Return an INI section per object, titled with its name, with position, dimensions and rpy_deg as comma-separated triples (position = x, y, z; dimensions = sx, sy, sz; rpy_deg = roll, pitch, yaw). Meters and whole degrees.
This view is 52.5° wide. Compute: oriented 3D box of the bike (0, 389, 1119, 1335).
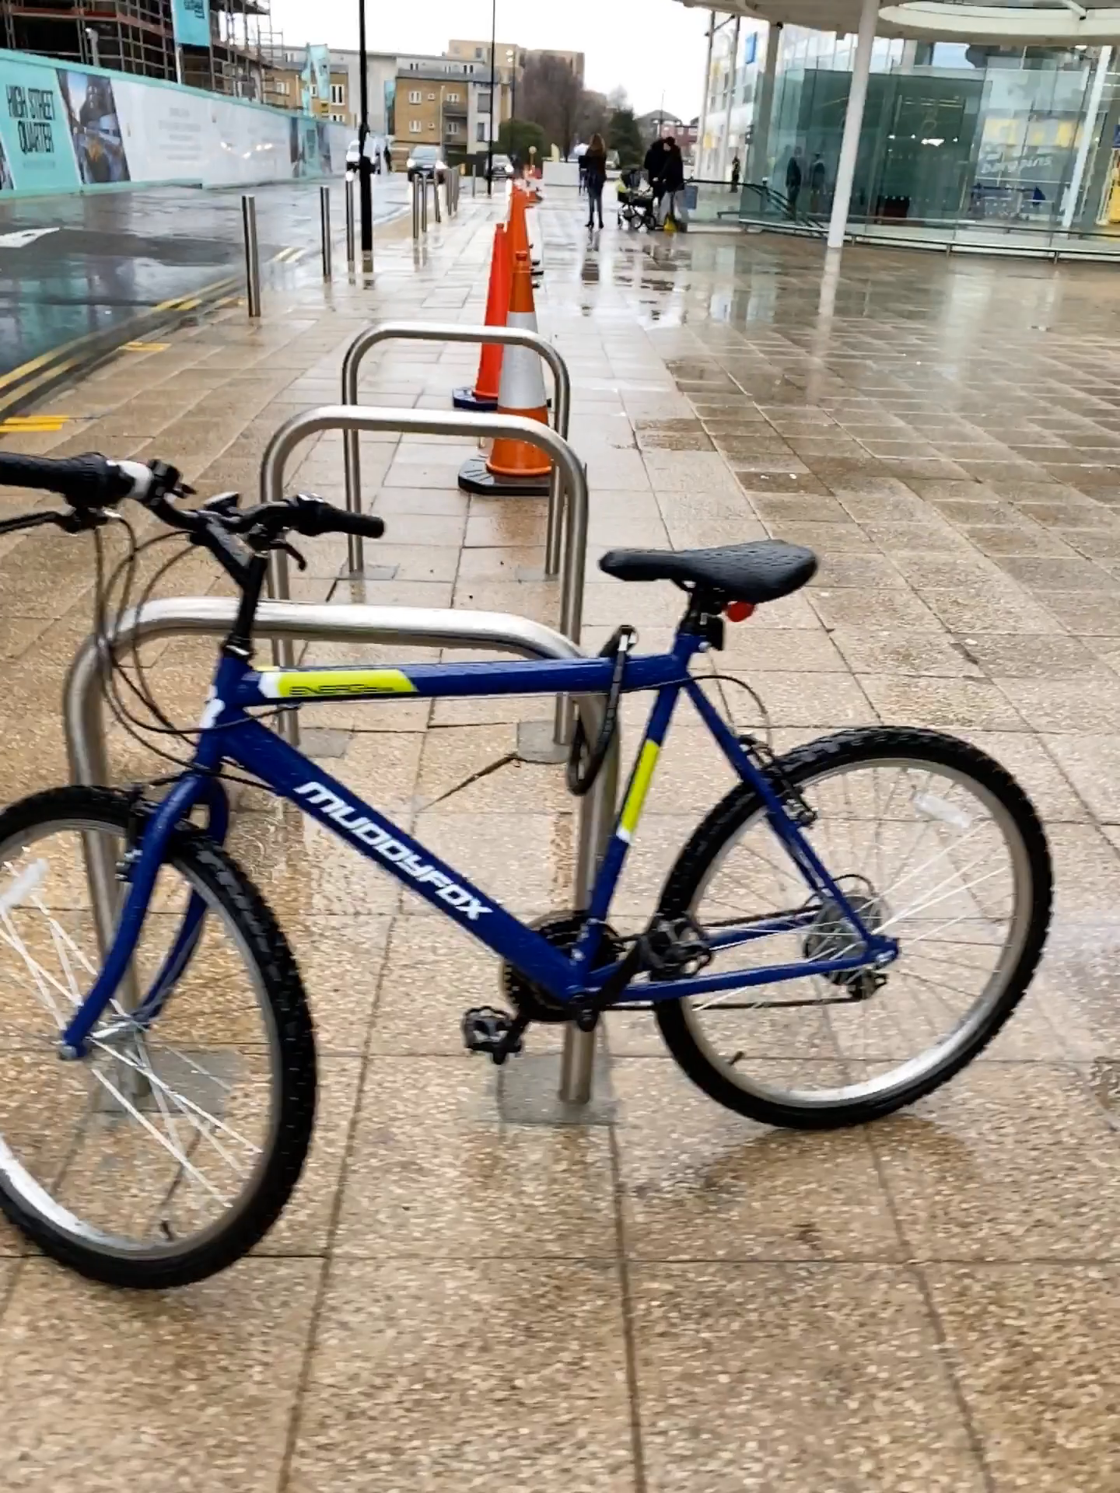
[bike]
position = -0.058, 0.109, 1.559
dimensions = 1.593, 1.012, 0.601
rpy_deg = -3, 27, -7
